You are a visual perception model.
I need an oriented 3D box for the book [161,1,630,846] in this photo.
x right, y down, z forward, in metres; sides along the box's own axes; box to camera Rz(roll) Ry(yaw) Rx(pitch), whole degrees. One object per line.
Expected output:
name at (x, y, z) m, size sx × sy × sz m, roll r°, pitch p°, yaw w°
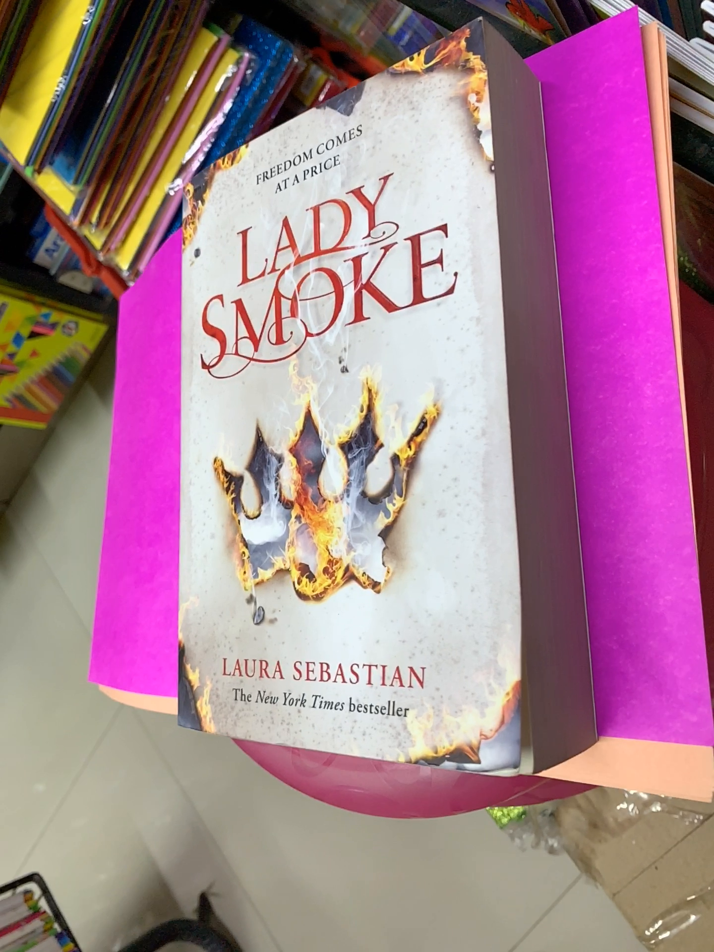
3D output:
book at (0.003, -0.011, 0.232) m, size 0.131 × 0.050 × 0.200 m, roll -6°, pitch 83°, yaw 35°
